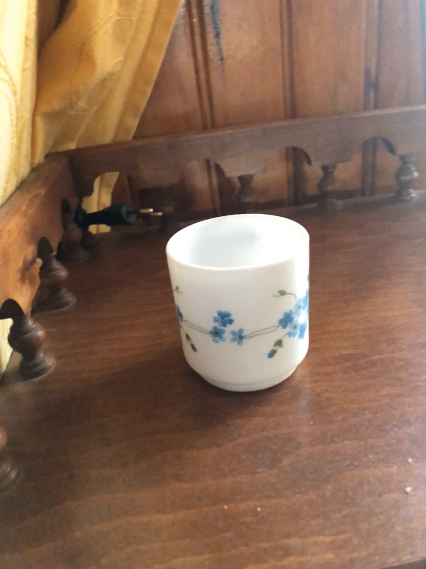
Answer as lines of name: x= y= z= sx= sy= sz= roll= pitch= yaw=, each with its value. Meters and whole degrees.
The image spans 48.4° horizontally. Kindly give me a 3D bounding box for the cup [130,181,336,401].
cup: x=0.016 y=-0.004 z=0.210 sx=0.060 sy=0.060 sz=0.081 roll=6 pitch=30 yaw=24
